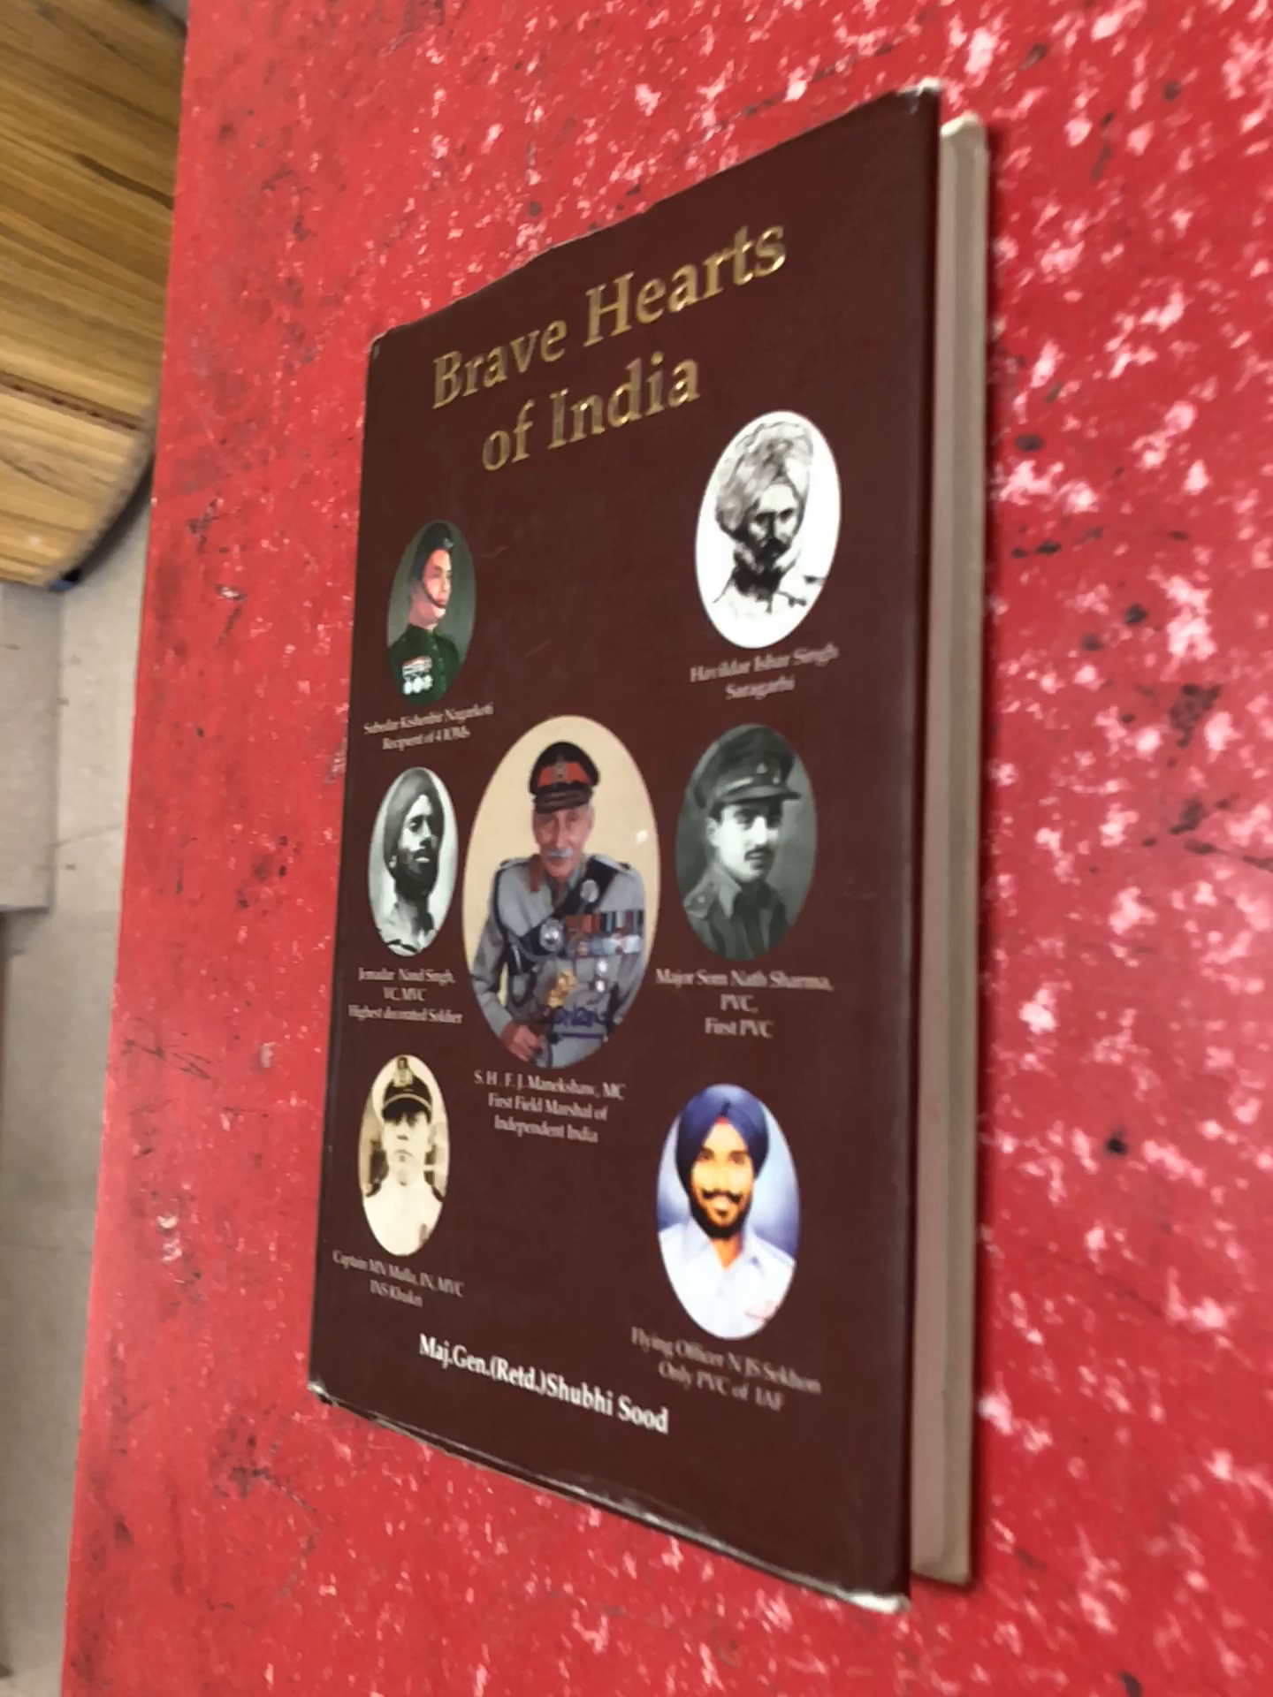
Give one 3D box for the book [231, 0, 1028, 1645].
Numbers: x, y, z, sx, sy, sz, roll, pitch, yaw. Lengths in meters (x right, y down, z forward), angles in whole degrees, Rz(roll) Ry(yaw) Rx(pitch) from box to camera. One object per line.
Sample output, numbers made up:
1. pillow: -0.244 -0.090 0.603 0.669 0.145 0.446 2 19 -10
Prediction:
1. book: -0.009 -0.008 0.246 0.151 0.030 0.220 -4 81 44
